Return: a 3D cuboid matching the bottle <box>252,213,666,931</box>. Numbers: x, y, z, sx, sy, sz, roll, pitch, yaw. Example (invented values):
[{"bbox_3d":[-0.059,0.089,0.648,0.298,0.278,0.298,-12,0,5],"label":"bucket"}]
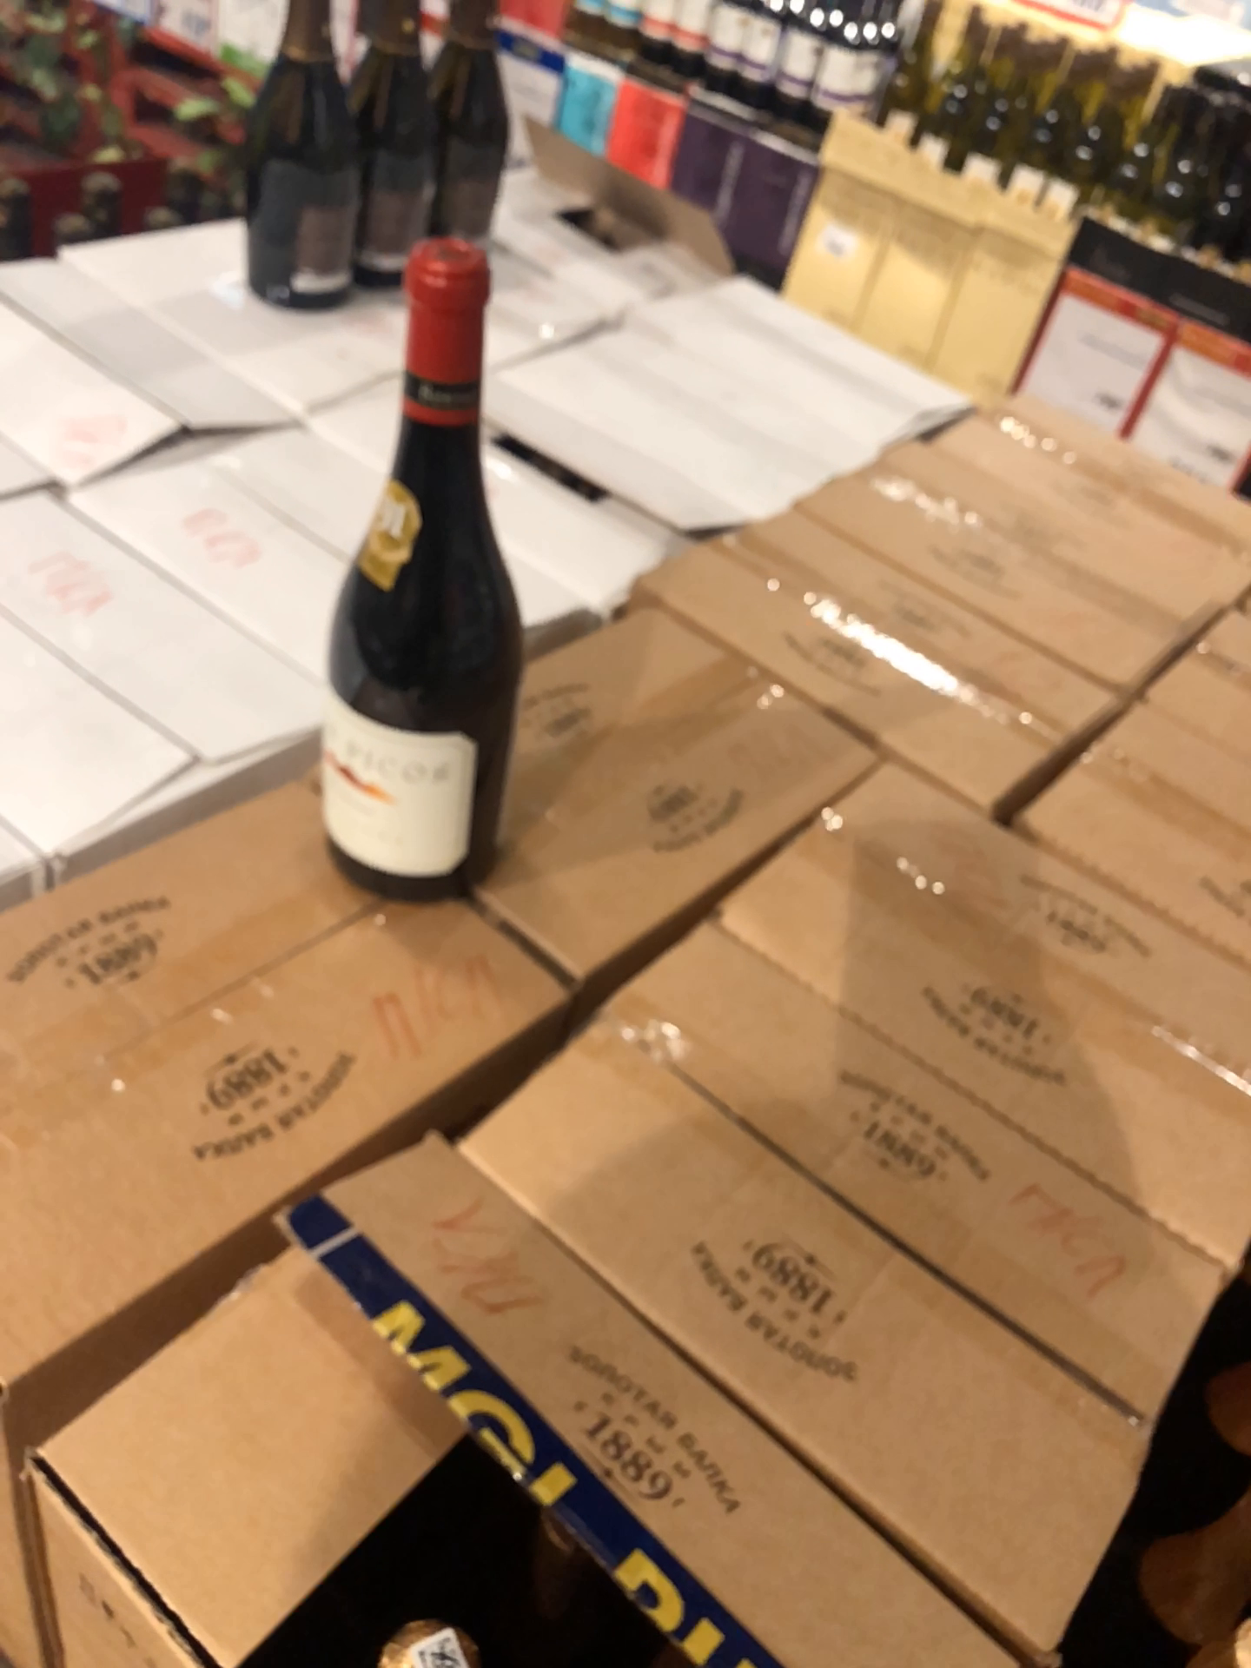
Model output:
[{"bbox_3d":[-0.082,-0.102,0.592,0.100,0.268,0.100,9,41,-8],"label":"bottle"}]
